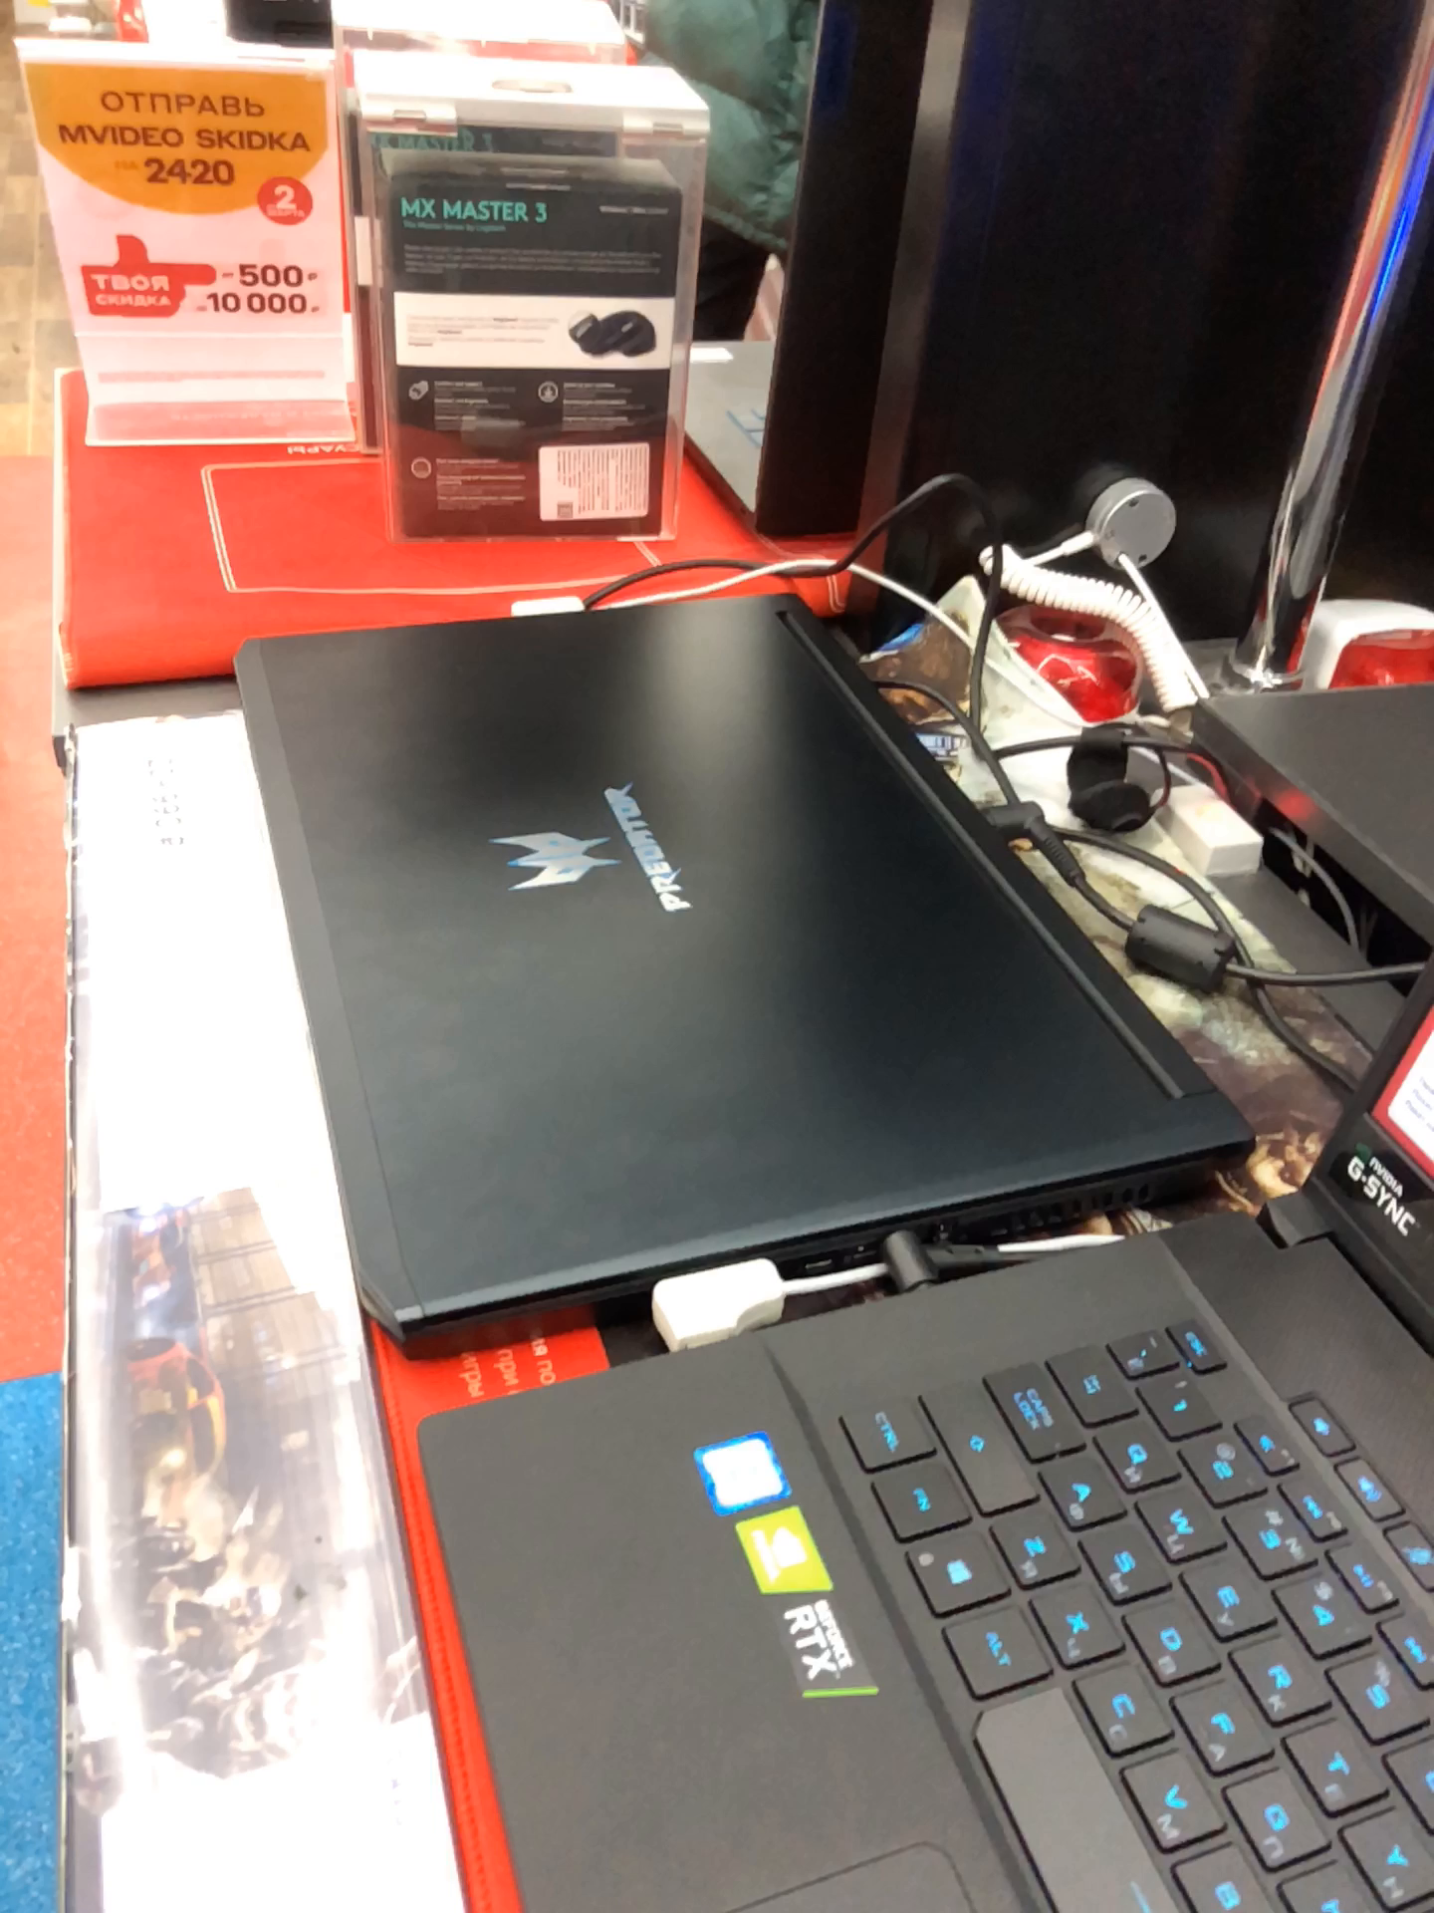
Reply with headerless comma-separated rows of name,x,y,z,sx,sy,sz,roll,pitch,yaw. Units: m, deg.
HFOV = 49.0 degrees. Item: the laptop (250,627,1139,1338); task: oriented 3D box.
laptop,-0.037,-0.027,0.564,0.221,0.006,0.355,-9,40,-16
